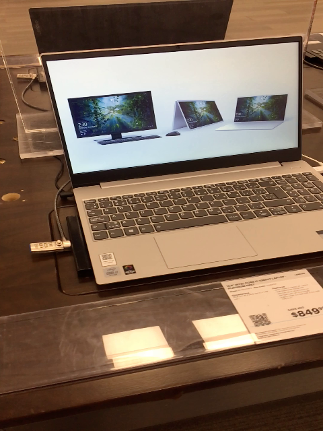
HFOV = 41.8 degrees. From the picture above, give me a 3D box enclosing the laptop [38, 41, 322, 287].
[{"bbox_3d":[0.061,-0.093,0.579,0.373,0.196,0.302,-10,40,-11],"label":"laptop"}]
